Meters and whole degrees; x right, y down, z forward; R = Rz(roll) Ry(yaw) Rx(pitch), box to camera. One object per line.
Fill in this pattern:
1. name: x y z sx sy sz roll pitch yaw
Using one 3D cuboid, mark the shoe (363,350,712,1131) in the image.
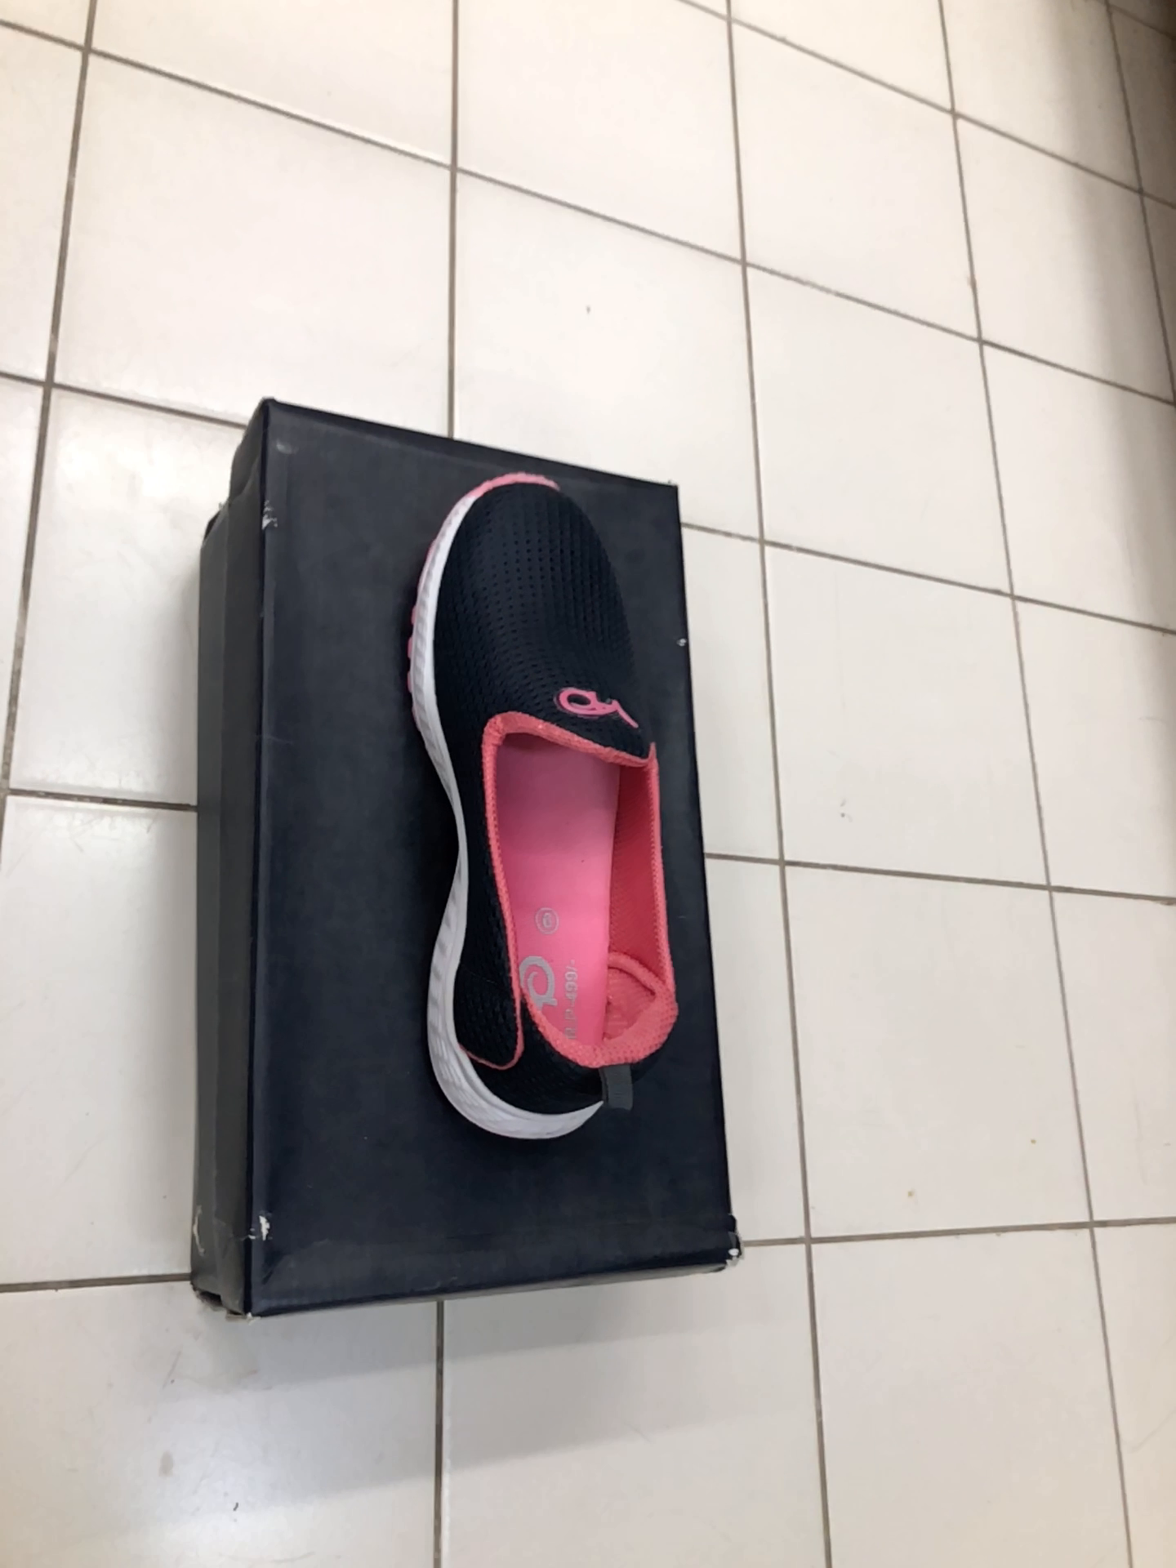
1. shoe: -0.025 -0.010 0.498 0.090 0.099 0.270 6 72 -26
